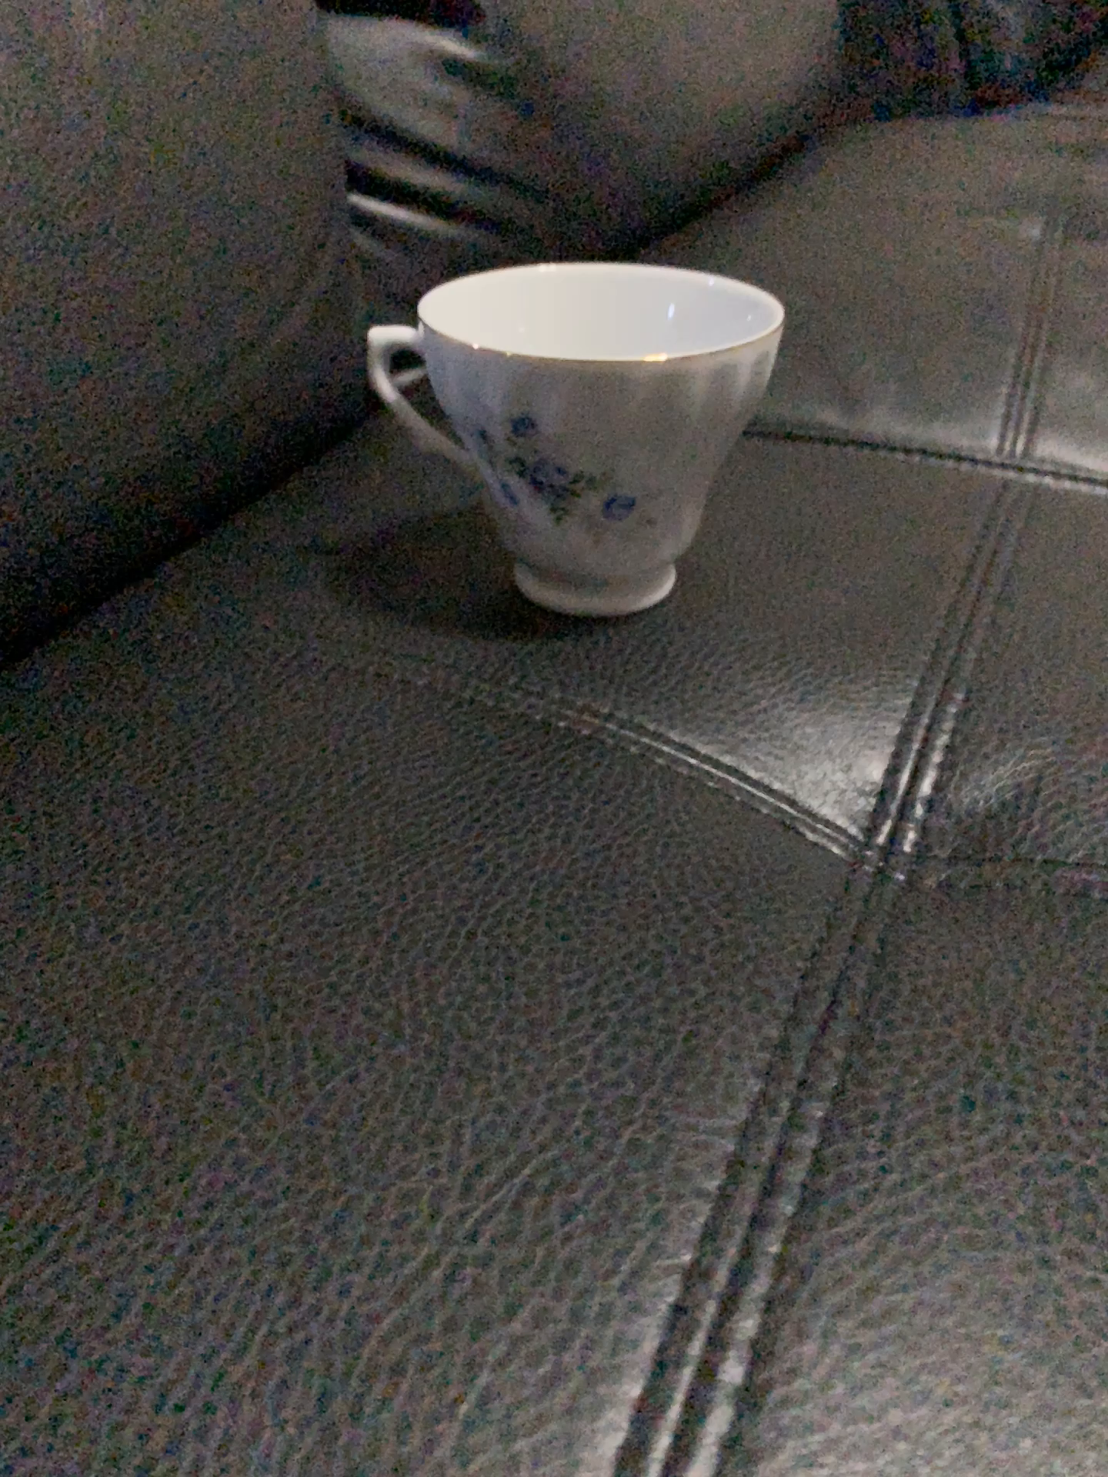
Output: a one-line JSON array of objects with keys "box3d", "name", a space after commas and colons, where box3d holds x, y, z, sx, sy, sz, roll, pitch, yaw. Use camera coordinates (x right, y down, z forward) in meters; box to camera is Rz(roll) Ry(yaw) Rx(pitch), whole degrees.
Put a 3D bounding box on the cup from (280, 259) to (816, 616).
[{"box3d": [0.004, -0.082, 0.295, 0.113, 0.059, 0.094, 5, 31, 8], "name": "cup"}]
